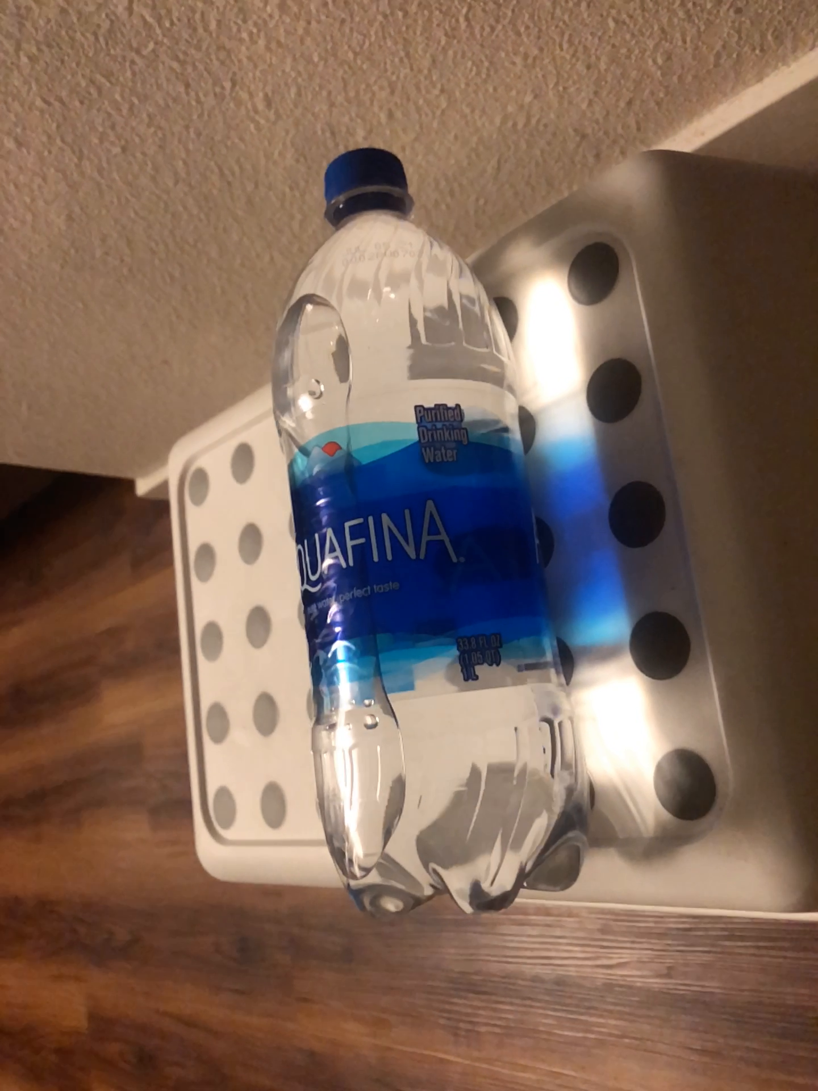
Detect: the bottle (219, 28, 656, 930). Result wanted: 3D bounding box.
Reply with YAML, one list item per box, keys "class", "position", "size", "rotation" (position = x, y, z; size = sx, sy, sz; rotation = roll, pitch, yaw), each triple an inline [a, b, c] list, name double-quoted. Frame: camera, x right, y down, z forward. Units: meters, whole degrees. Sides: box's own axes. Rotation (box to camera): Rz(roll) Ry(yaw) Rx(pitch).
- class: "bottle"
  position: [0.002, -0.018, 0.301]
  size: [0.090, 0.080, 0.250]
  rotation: [-18, 73, 45]
